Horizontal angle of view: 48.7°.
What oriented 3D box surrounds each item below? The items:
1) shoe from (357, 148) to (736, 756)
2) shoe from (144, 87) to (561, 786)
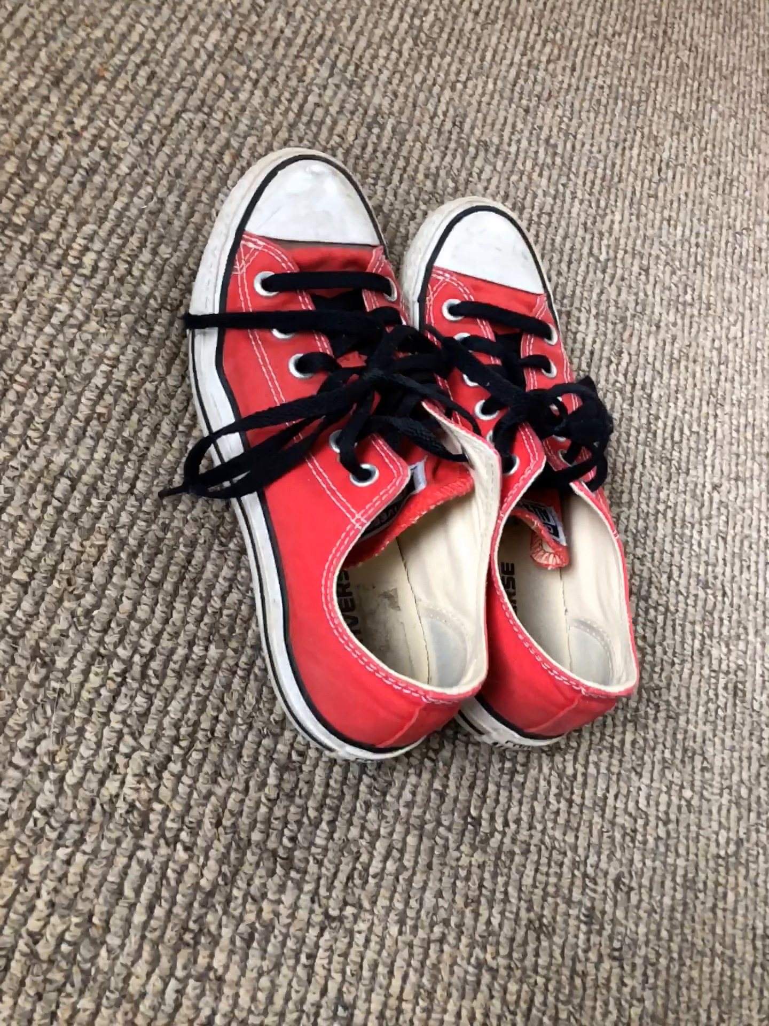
[{"bbox_3d":[0.065,-0.027,0.404,0.102,0.088,0.259,4,68,-28],"label":"shoe"},{"bbox_3d":[-0.026,-0.031,0.365,0.103,0.096,0.262,-2,71,-30],"label":"shoe"}]
